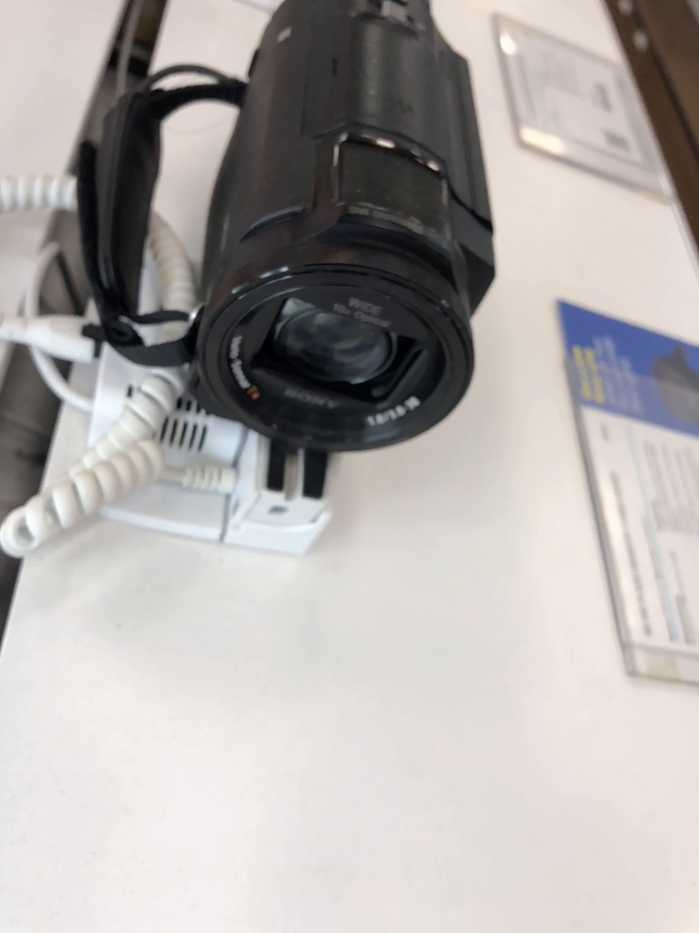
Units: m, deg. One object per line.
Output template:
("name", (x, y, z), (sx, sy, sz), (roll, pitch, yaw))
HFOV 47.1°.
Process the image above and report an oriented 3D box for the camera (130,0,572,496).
("camera", (-0.003, -0.081, 0.225), (0.080, 0.070, 0.150), (13, 53, -18))
